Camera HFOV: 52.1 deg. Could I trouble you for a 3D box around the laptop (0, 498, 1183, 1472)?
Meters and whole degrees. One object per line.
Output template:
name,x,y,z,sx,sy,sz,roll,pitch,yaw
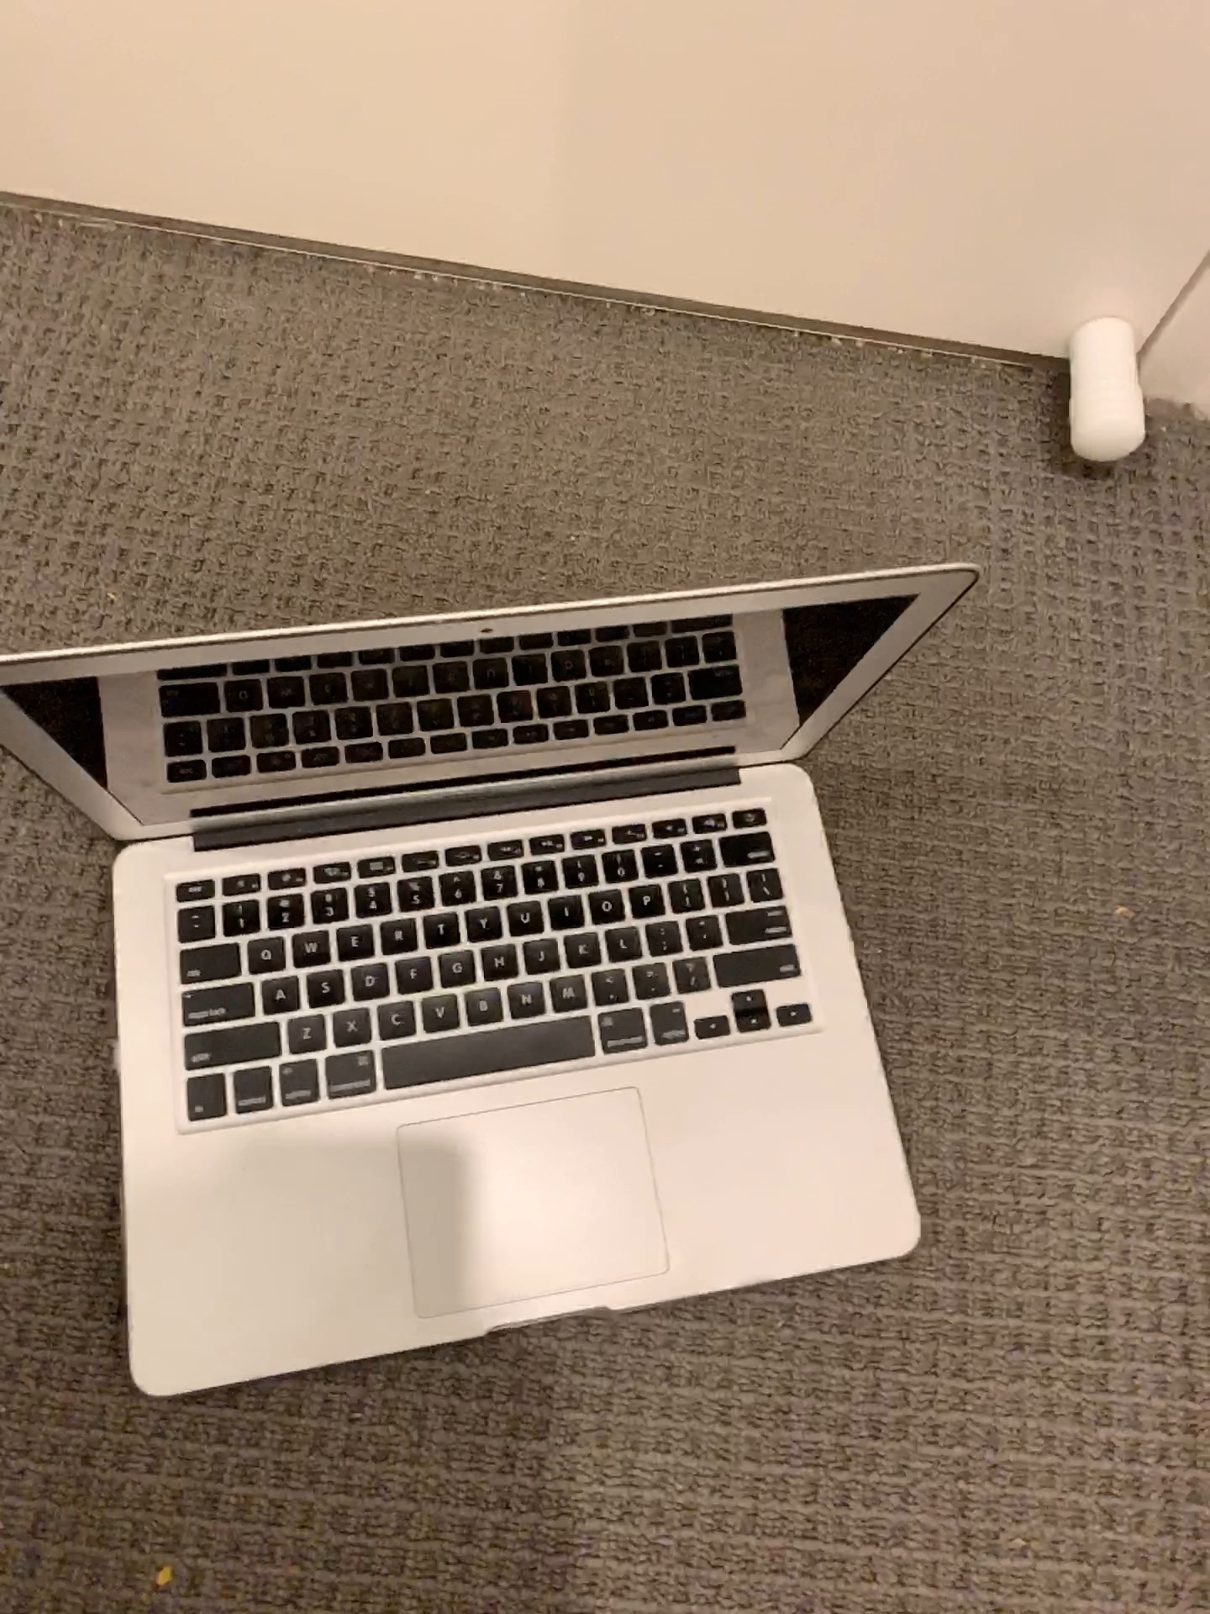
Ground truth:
laptop,-0.034,0.064,0.442,0.322,0.215,0.226,-8,70,-9
